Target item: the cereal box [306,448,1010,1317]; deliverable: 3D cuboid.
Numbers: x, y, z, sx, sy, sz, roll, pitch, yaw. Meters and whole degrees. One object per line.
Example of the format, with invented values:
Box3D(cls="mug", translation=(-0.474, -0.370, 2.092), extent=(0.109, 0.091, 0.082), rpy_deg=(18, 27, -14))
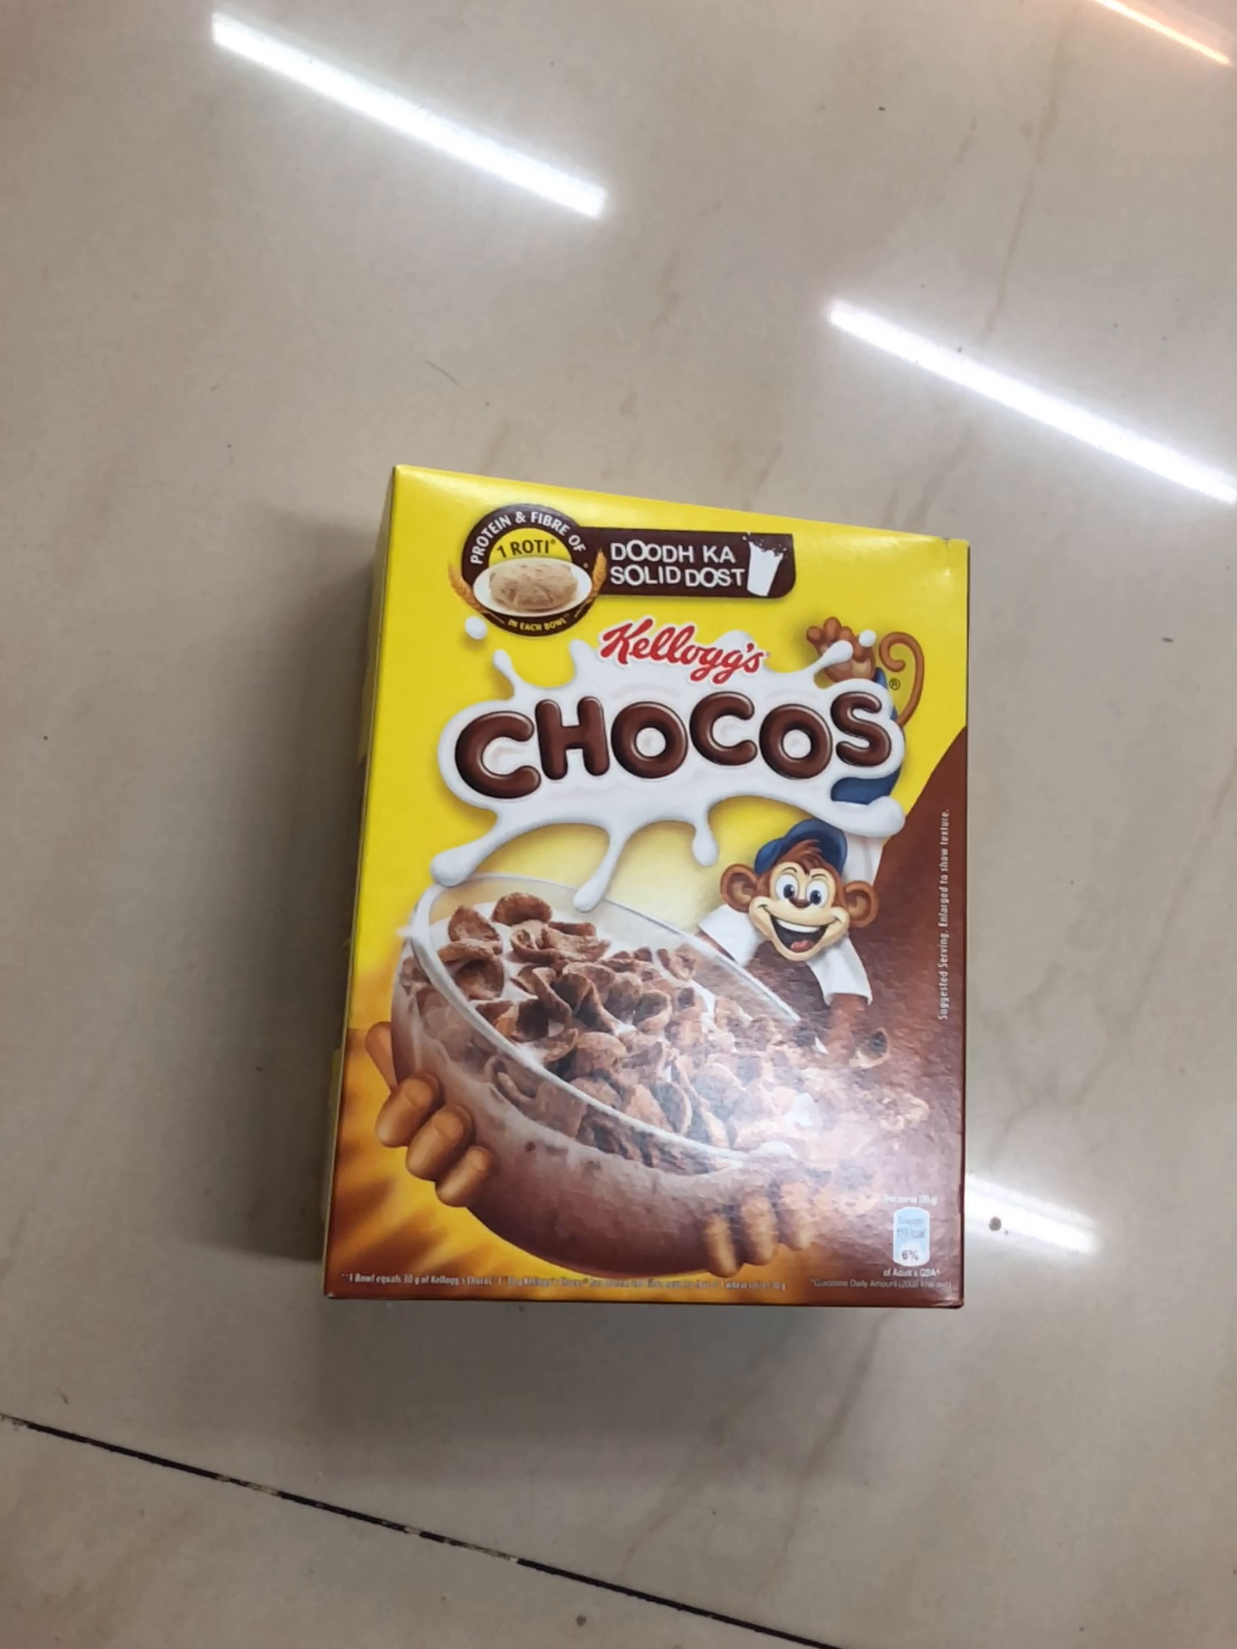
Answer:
Box3D(cls="cereal box", translation=(0.009, 0.016, 0.312), extent=(0.140, 0.050, 0.170), rpy_deg=(6, 82, -12))
